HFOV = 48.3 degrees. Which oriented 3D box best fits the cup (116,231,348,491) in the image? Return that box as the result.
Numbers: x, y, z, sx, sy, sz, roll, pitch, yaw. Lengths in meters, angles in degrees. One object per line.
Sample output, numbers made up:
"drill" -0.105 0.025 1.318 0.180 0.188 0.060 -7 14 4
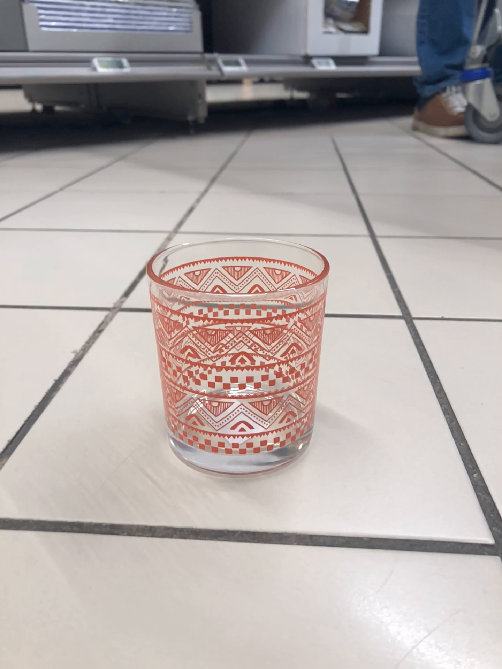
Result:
"cup" -0.002 0.006 0.241 0.078 0.078 0.084 0 25 0
